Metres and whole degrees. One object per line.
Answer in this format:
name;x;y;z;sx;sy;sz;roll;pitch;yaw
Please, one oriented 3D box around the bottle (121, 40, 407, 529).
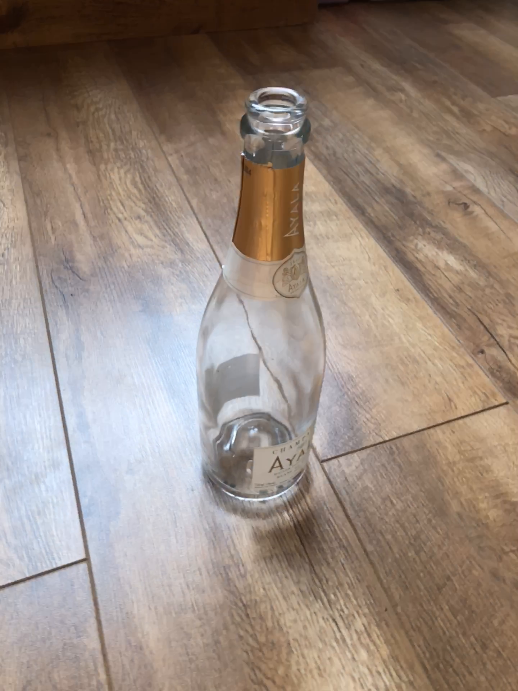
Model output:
bottle;-0.003;-0.011;0.363;0.090;0.298;0.090;2;47;-2
